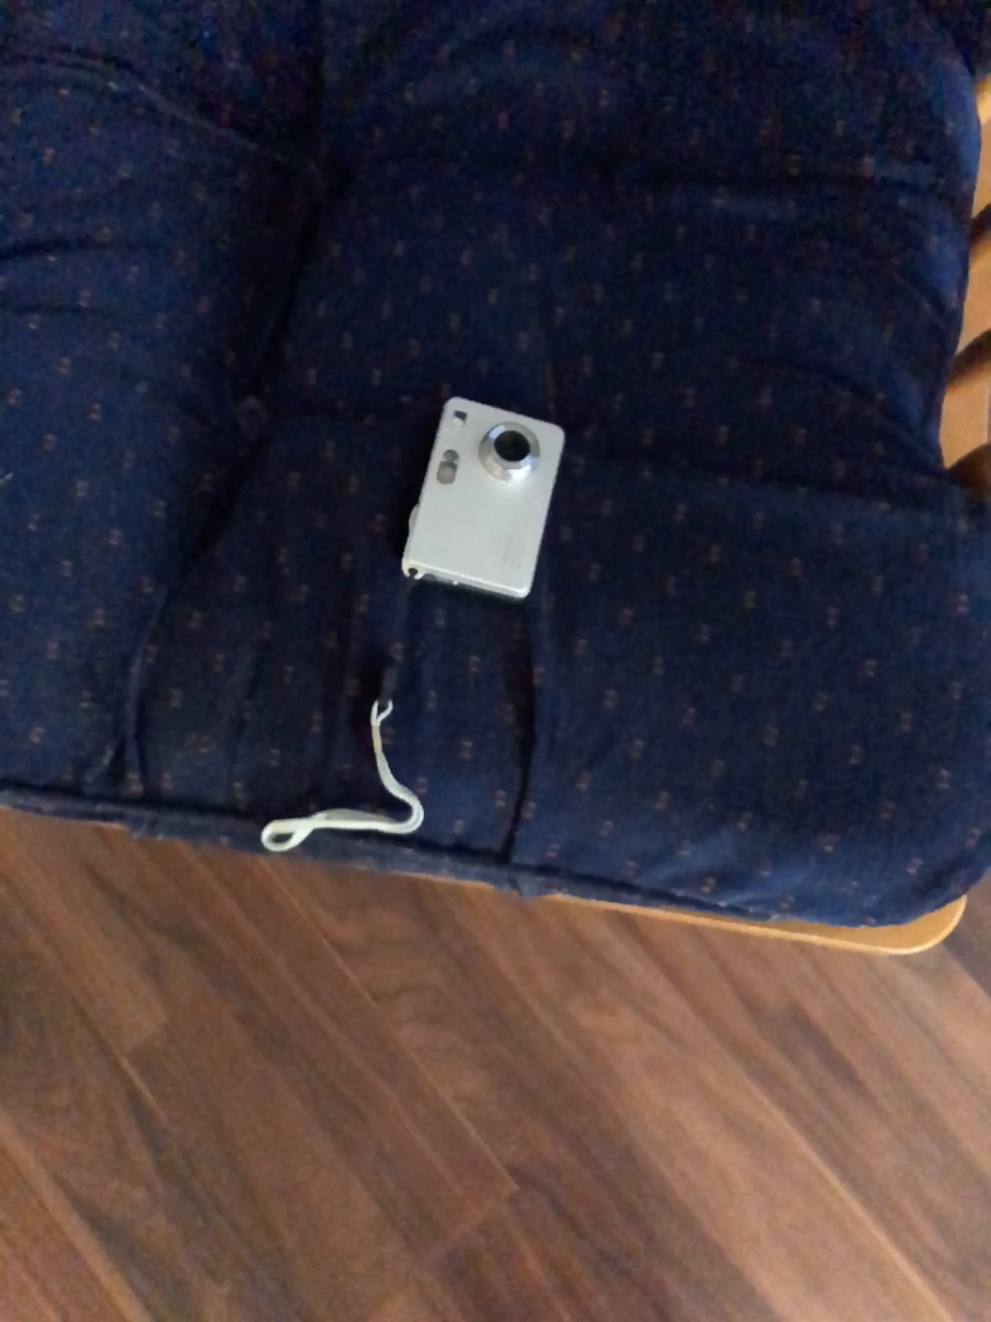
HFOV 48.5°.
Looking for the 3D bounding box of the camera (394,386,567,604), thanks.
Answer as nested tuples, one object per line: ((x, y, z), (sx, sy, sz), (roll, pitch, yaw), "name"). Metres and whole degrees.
((-0.006, -0.074, 0.485), (0.058, 0.018, 0.085), (14, 71, -3), "camera")
